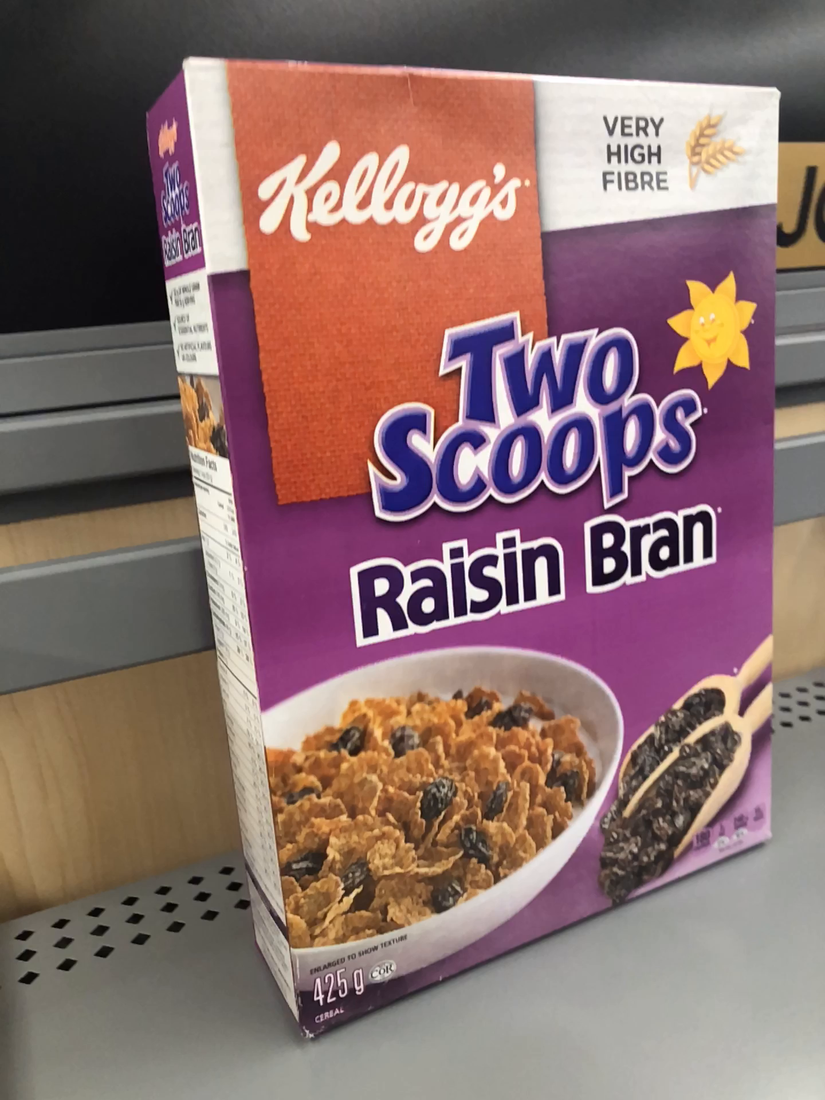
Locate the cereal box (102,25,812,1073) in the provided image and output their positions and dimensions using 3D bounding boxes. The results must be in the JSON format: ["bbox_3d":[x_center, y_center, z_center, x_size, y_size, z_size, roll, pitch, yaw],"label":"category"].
[{"bbox_3d":[0.033,-0.006,0.295,0.210,0.269,0.050,-11,14,-25],"label":"cereal box"}]
